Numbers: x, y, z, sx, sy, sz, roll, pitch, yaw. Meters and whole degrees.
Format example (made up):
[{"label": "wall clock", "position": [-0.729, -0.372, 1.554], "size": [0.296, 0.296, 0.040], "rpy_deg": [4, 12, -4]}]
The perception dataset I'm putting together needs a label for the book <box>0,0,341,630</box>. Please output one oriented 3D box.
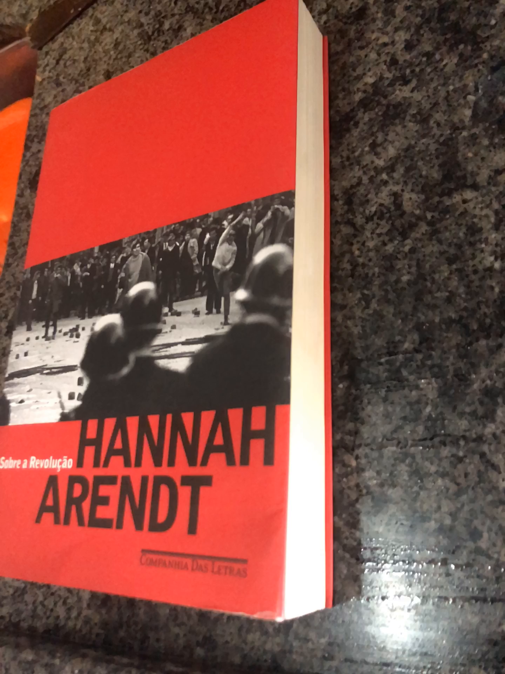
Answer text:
[{"label": "book", "position": [-0.040, -0.016, 0.218], "size": [0.145, 0.030, 0.210], "rpy_deg": [-9, 70, 32]}]
